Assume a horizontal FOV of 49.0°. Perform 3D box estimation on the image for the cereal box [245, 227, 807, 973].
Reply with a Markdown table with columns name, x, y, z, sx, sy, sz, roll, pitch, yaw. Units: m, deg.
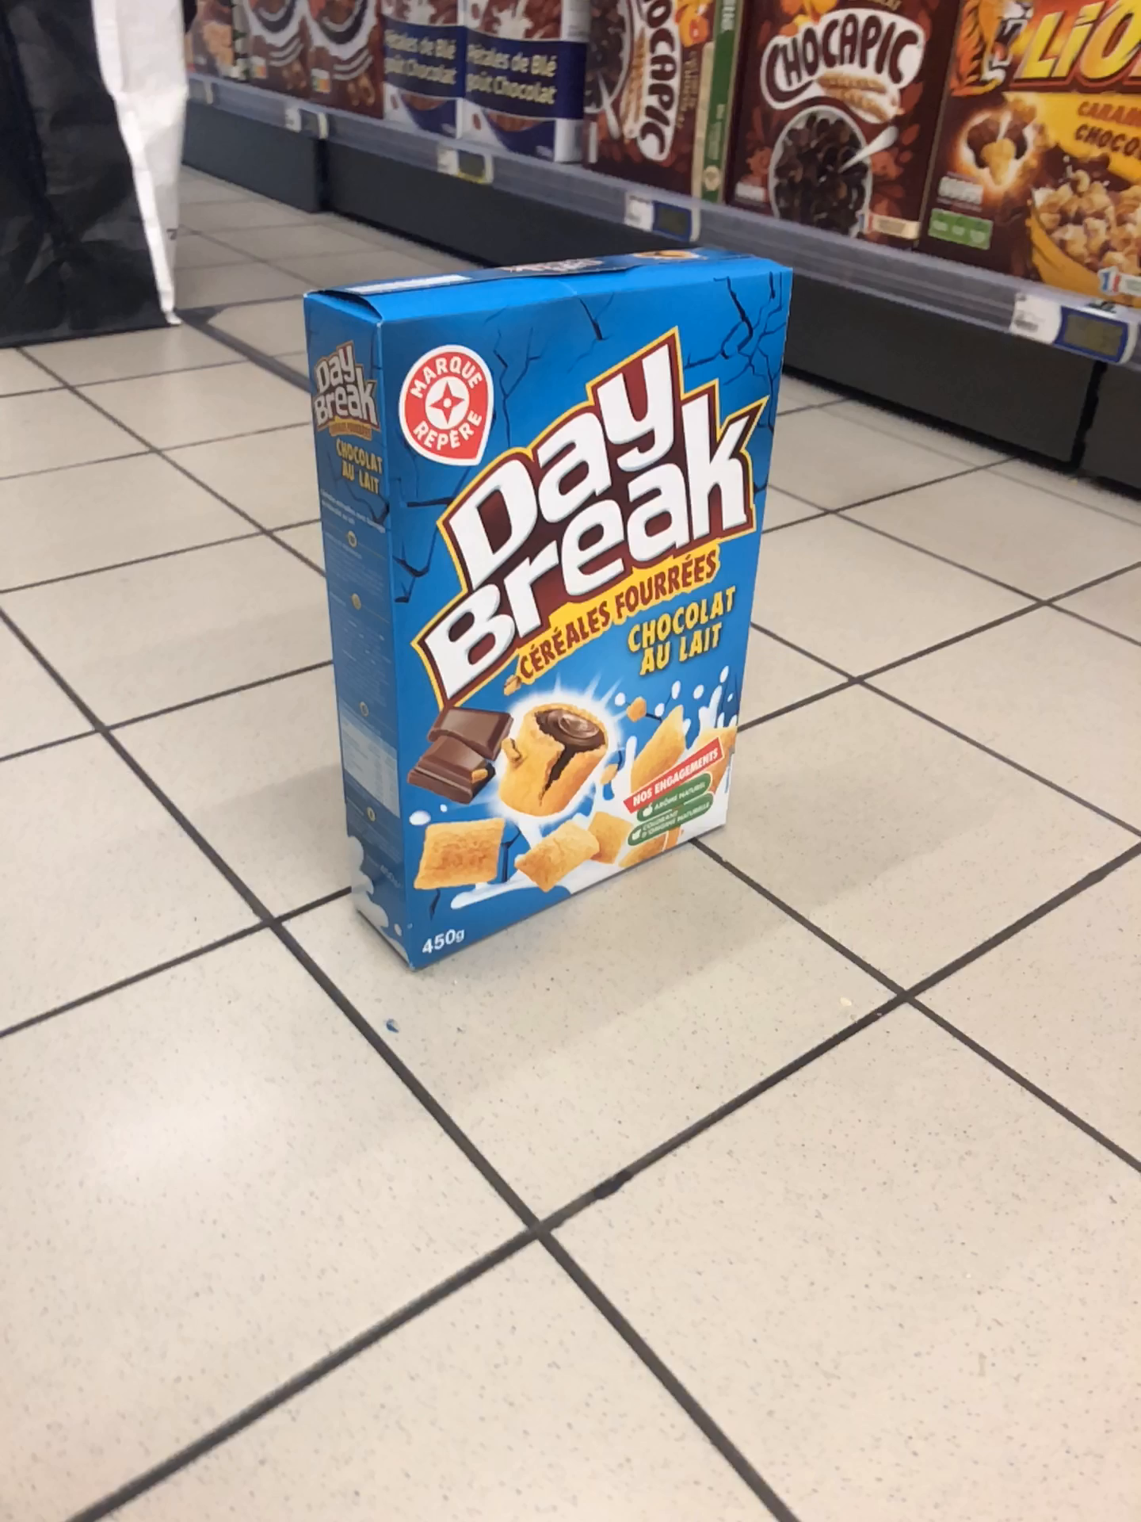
| name | x | y | z | sx | sy | sz | roll | pitch | yaw |
| --- | --- | --- | --- | --- | --- | --- | --- | --- | --- |
| cereal box | -0.012 | -0.070 | 0.520 | 0.201 | 0.258 | 0.070 | -21 | 37 | -32 |
